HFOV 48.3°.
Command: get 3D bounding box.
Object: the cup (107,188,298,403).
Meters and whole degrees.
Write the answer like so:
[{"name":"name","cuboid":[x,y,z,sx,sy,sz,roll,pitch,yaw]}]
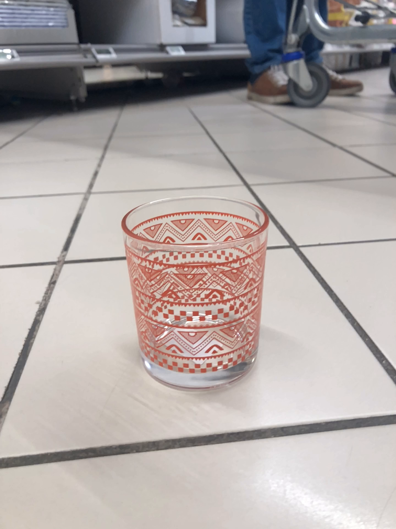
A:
[{"name":"cup","cuboid":[0.000,0.011,0.235,0.078,0.078,0.084,-1,25,1]}]
